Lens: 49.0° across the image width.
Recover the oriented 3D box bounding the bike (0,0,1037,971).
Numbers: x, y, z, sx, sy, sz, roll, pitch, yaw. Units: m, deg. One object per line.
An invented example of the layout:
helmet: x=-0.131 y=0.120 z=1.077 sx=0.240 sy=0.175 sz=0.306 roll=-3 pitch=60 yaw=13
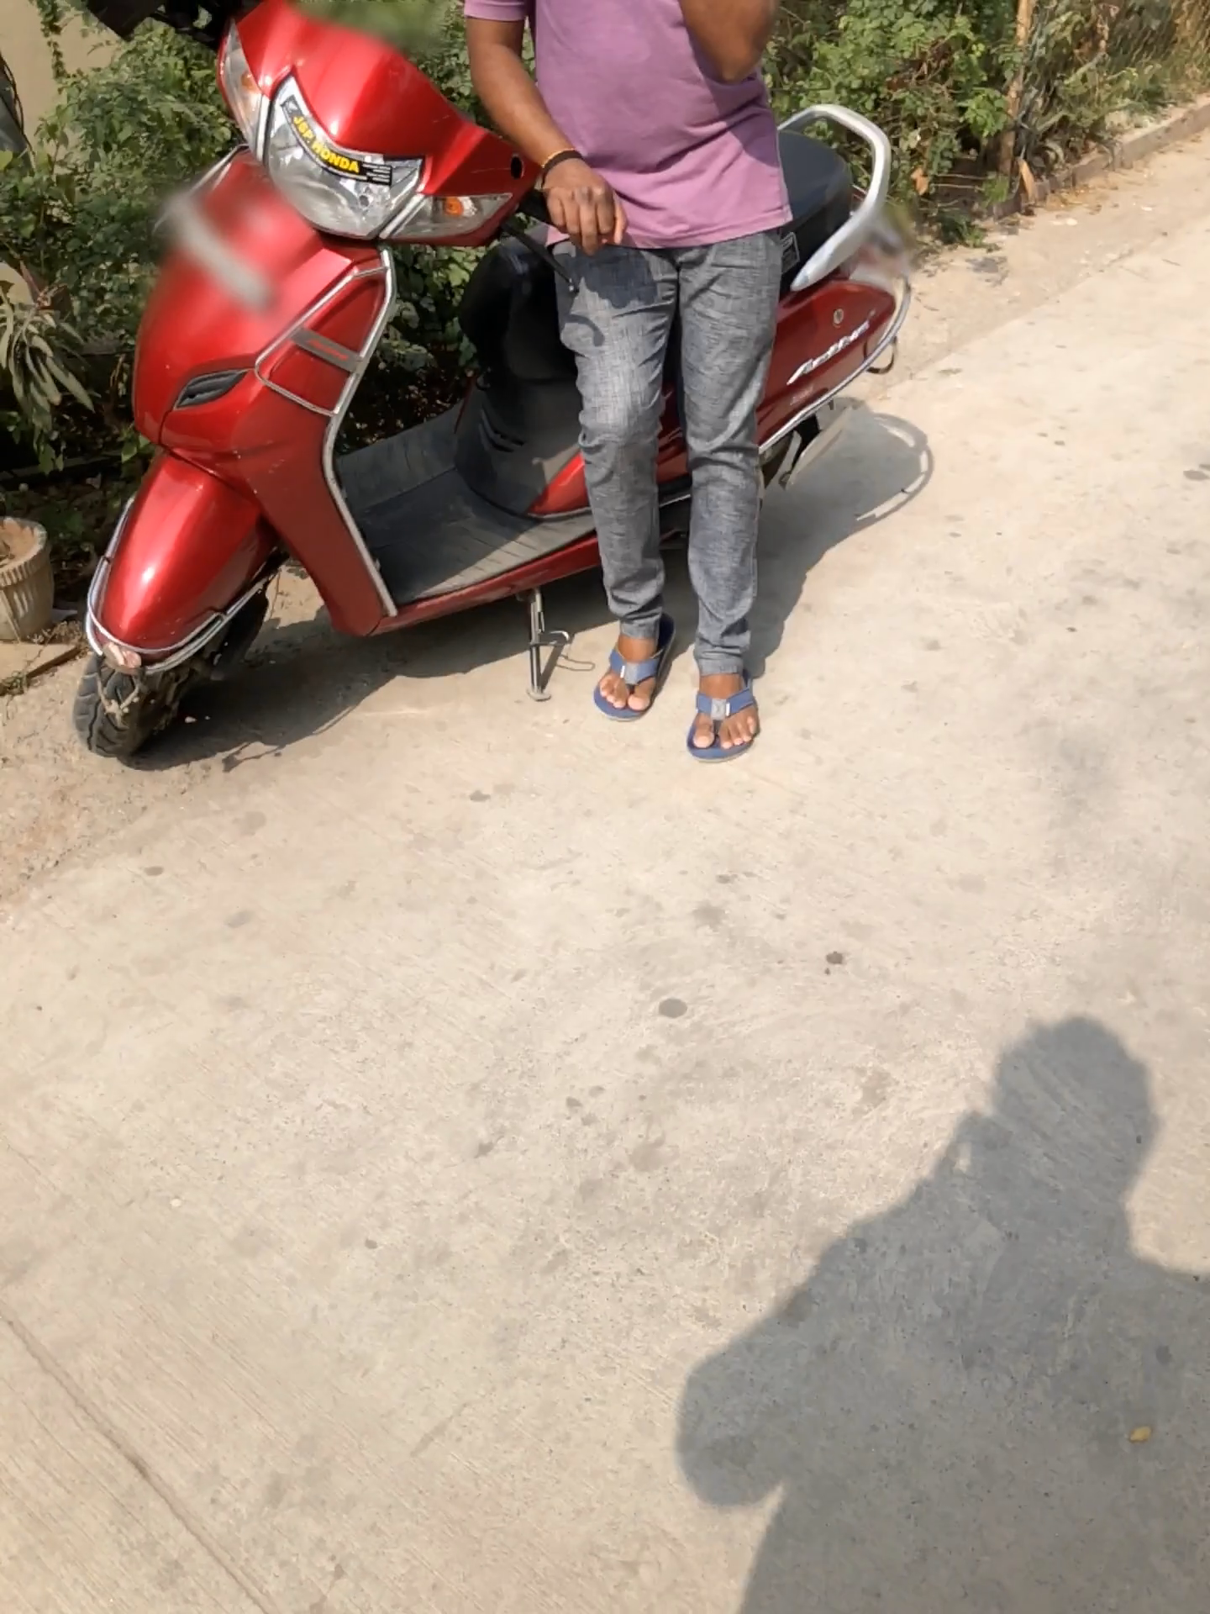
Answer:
bike: x=-0.144 y=-0.690 z=2.175 sx=1.589 sy=1.157 sz=0.622 roll=-29 pitch=45 yaw=-28
